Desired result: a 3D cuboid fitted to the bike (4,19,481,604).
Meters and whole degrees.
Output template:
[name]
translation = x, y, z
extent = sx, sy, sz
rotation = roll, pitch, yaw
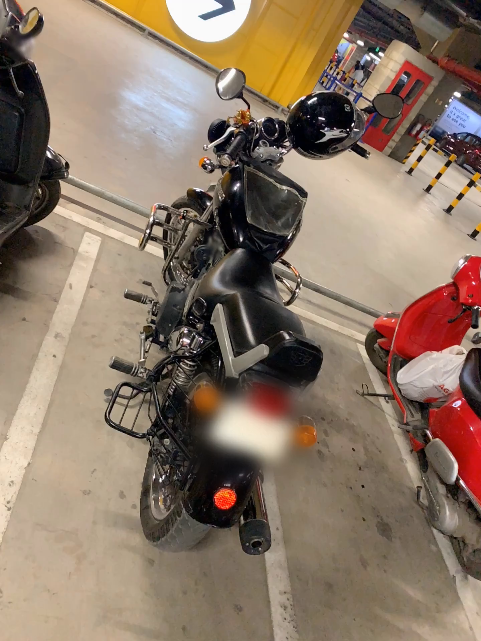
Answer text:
[bike]
translation = -0.148, -0.268, 2.038
extent = 0.829, 1.228, 2.085
rotation = 20, 32, -22
